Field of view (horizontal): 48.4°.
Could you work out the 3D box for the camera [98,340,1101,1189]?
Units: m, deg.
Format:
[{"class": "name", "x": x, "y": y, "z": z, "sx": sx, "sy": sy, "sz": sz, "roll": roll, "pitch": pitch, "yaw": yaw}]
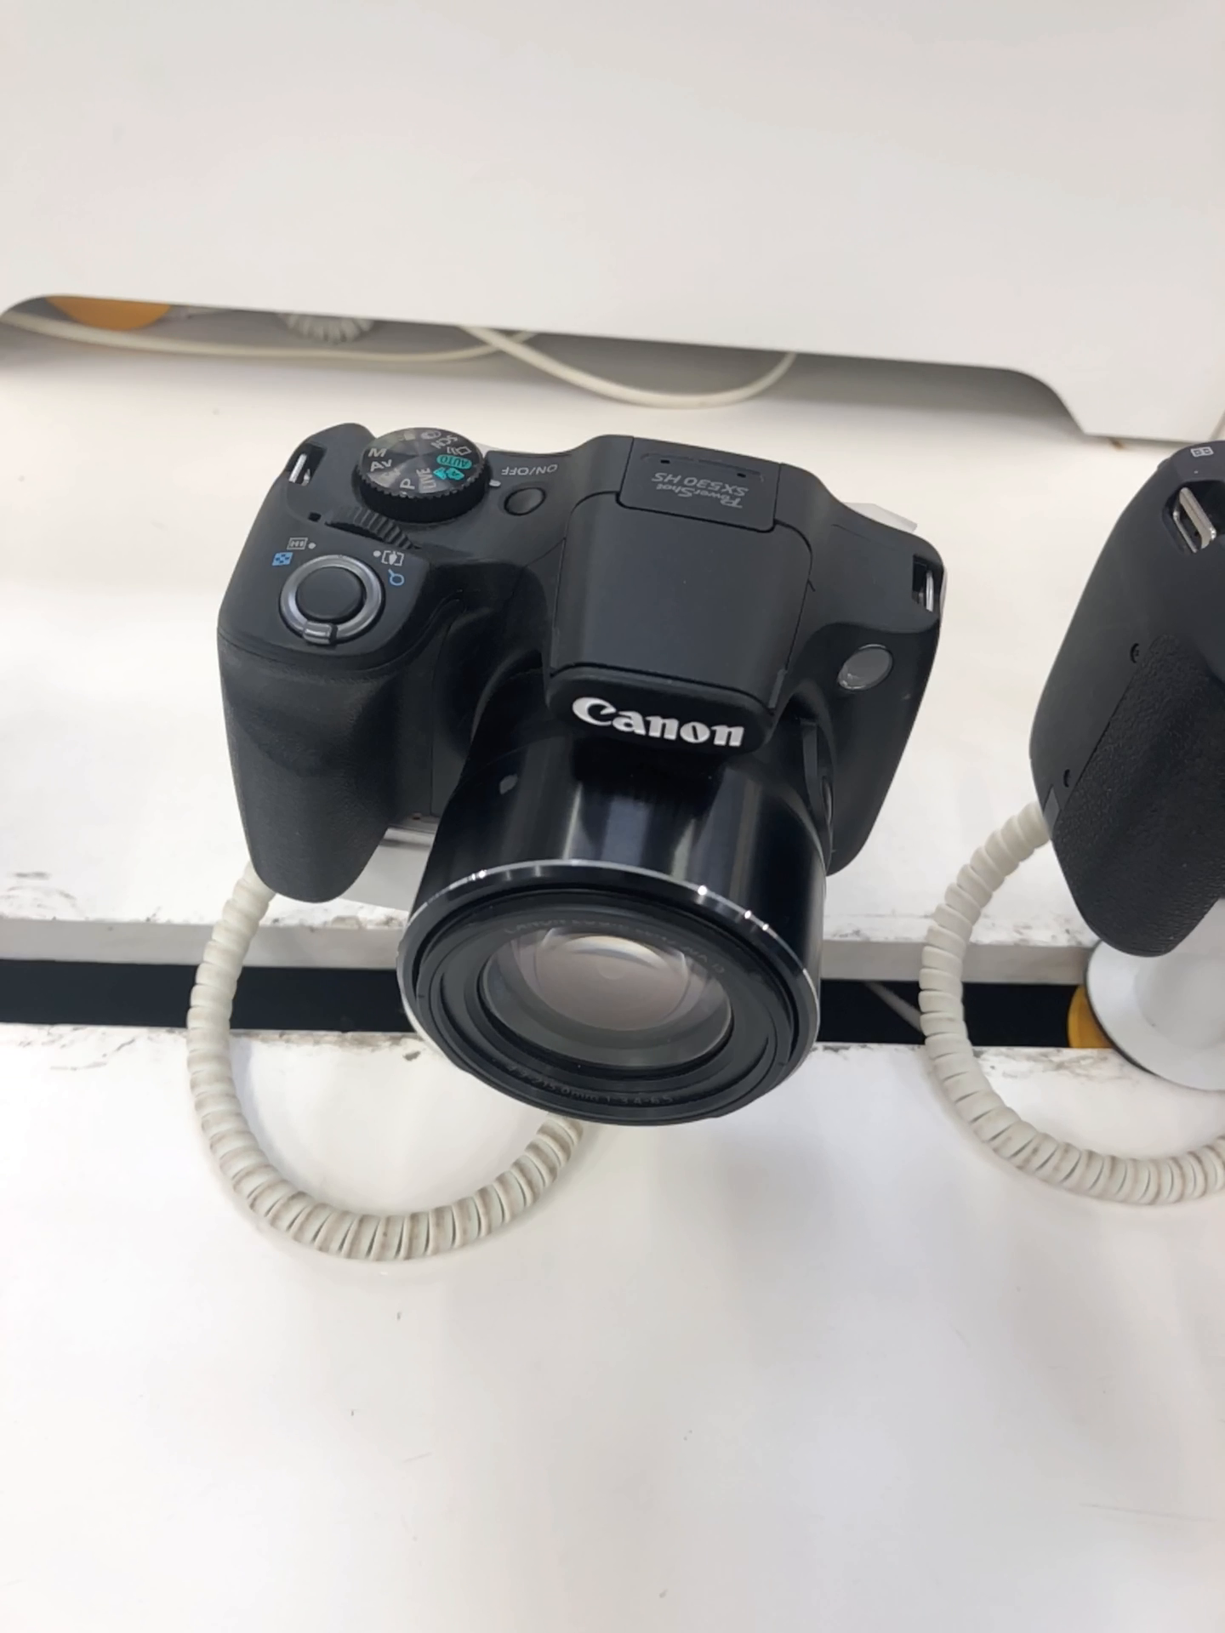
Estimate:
[{"class": "camera", "x": -0.001, "y": -0.006, "z": 0.221, "sx": 0.120, "sy": 0.089, "sz": 0.080, "roll": 9, "pitch": 49, "yaw": 0}]
